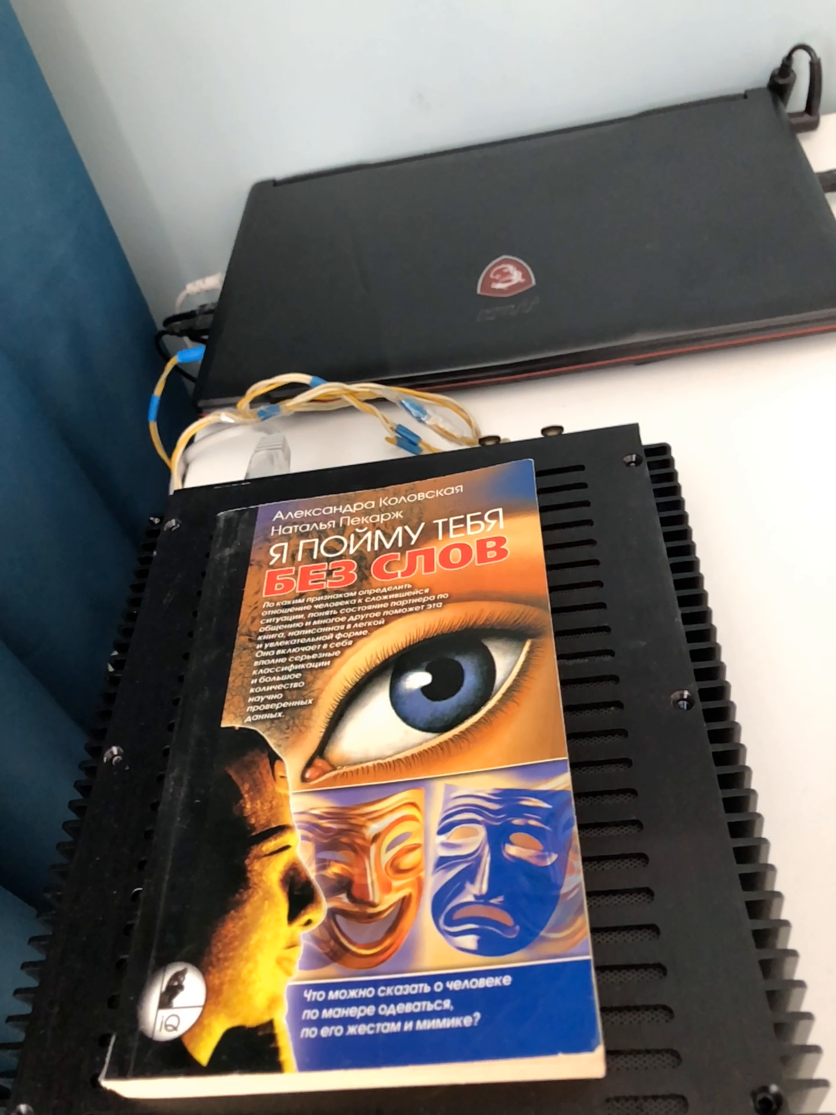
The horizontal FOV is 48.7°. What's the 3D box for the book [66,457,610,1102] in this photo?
[{"bbox_3d":[-0.018,0.051,0.272,0.123,0.023,0.184,-8,48,10],"label":"book"}]
